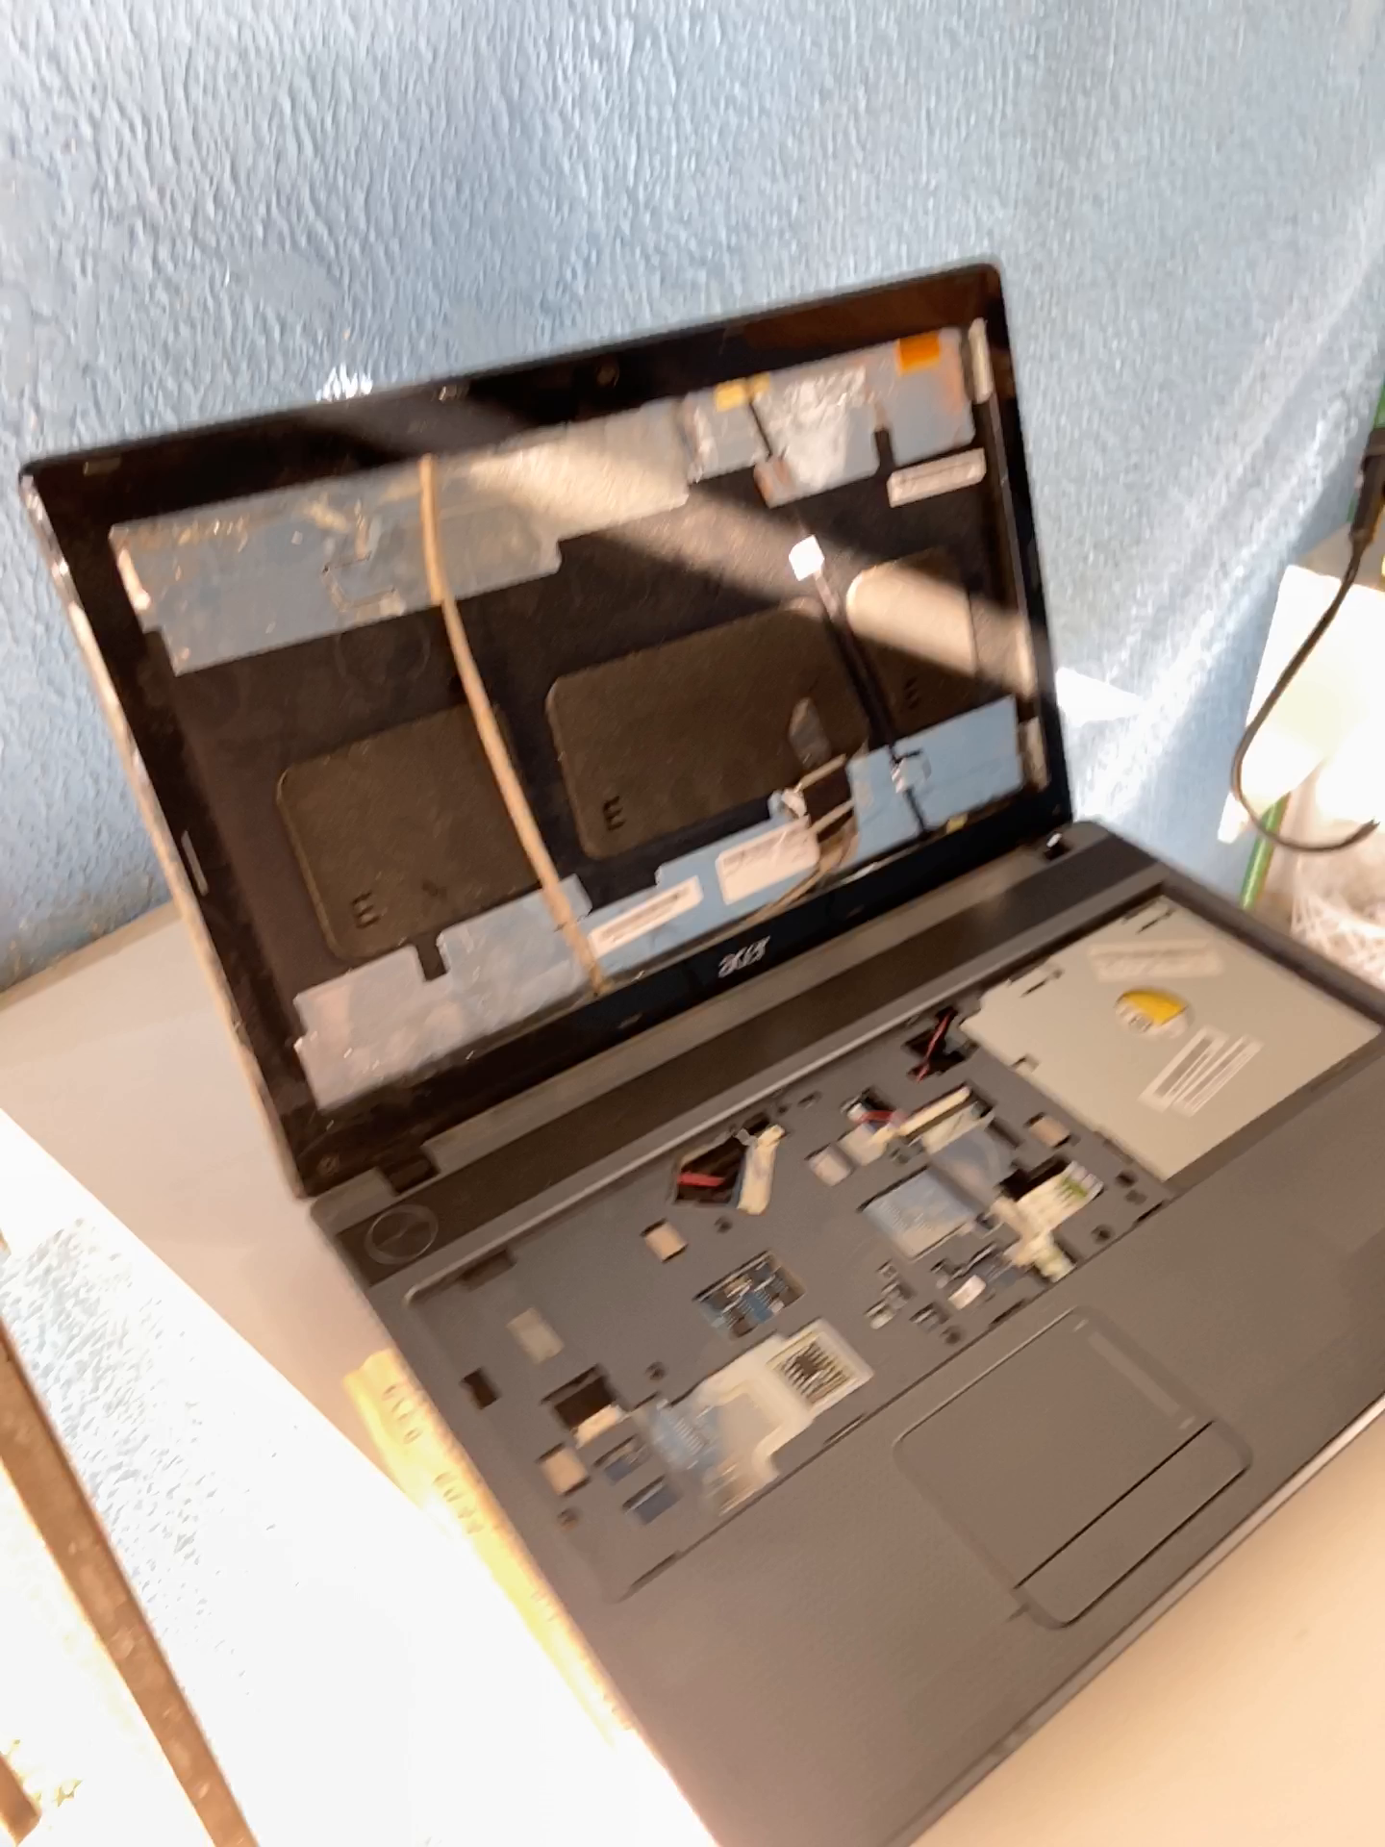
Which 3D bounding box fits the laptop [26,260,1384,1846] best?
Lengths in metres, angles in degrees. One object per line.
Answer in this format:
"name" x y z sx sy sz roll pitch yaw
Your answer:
"laptop" 0.069 -0.027 0.437 0.379 0.210 0.350 -24 43 -27
